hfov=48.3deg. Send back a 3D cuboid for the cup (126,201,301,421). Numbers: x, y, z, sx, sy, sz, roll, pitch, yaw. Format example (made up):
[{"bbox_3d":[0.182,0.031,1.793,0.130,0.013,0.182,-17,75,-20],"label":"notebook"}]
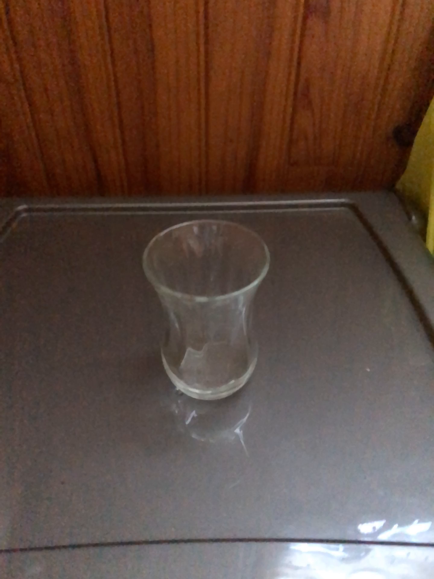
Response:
[{"bbox_3d":[-0.004,0.010,0.248,0.060,0.079,0.060,1,42,-1],"label":"cup"}]
